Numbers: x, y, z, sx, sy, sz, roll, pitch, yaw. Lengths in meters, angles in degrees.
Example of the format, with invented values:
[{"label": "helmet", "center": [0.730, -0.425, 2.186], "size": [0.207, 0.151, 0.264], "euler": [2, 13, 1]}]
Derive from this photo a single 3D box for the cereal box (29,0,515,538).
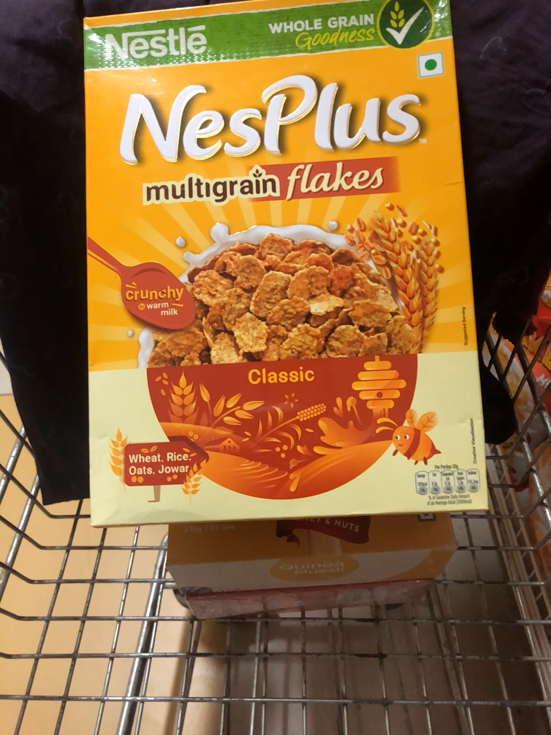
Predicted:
[{"label": "cereal box", "center": [-0.002, -0.064, 0.296], "size": [0.190, 0.080, 0.260], "euler": [-3, 89, 0]}]
